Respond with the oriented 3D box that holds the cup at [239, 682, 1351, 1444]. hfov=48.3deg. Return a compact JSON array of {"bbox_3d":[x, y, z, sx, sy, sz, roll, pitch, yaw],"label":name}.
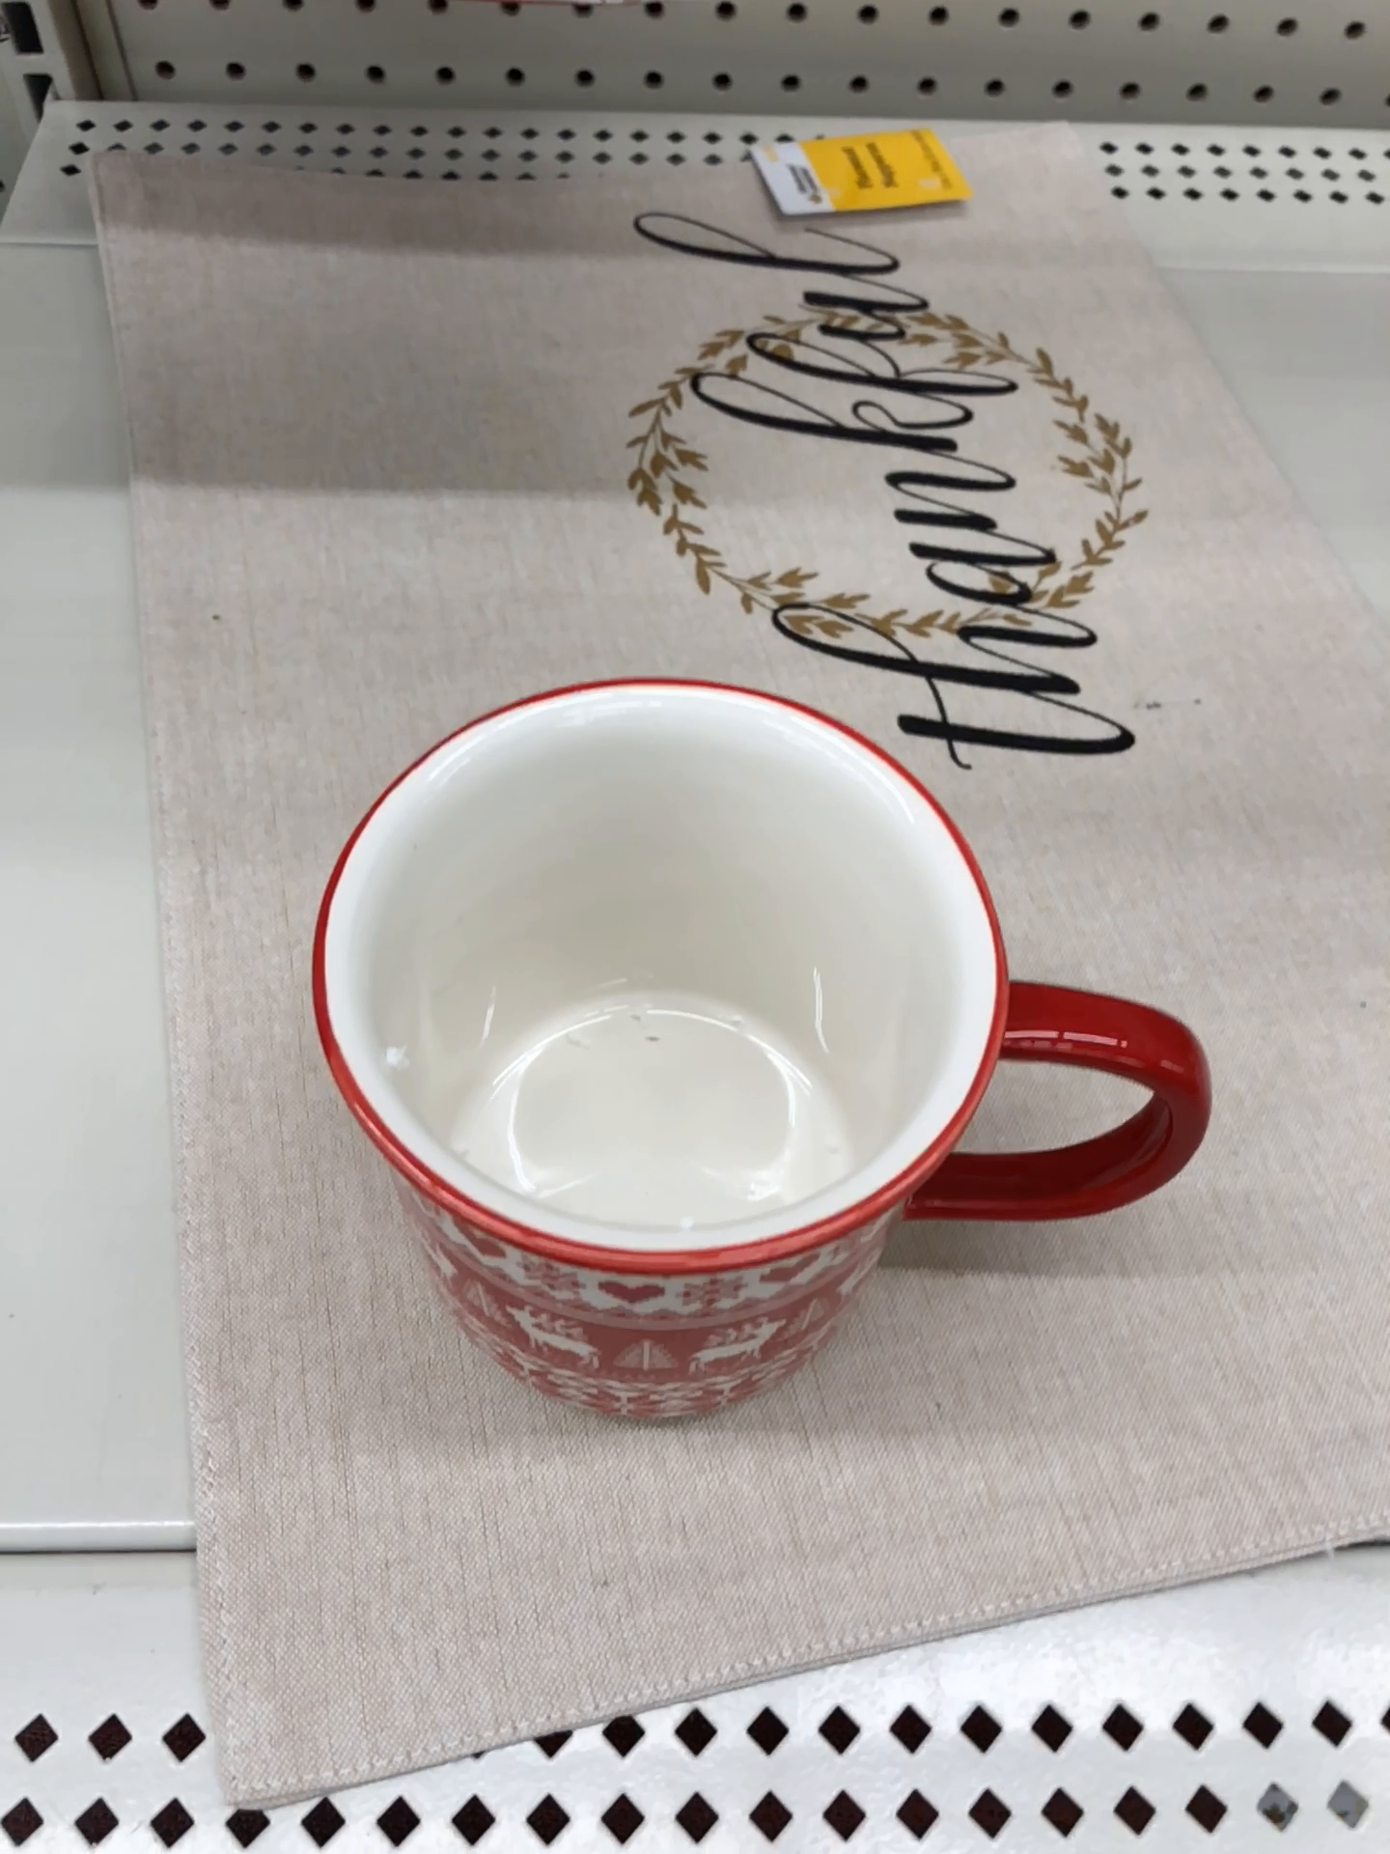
[{"bbox_3d":[0.012,0.028,0.277,0.150,0.100,0.100,0,58,-2],"label":"cup"}]
